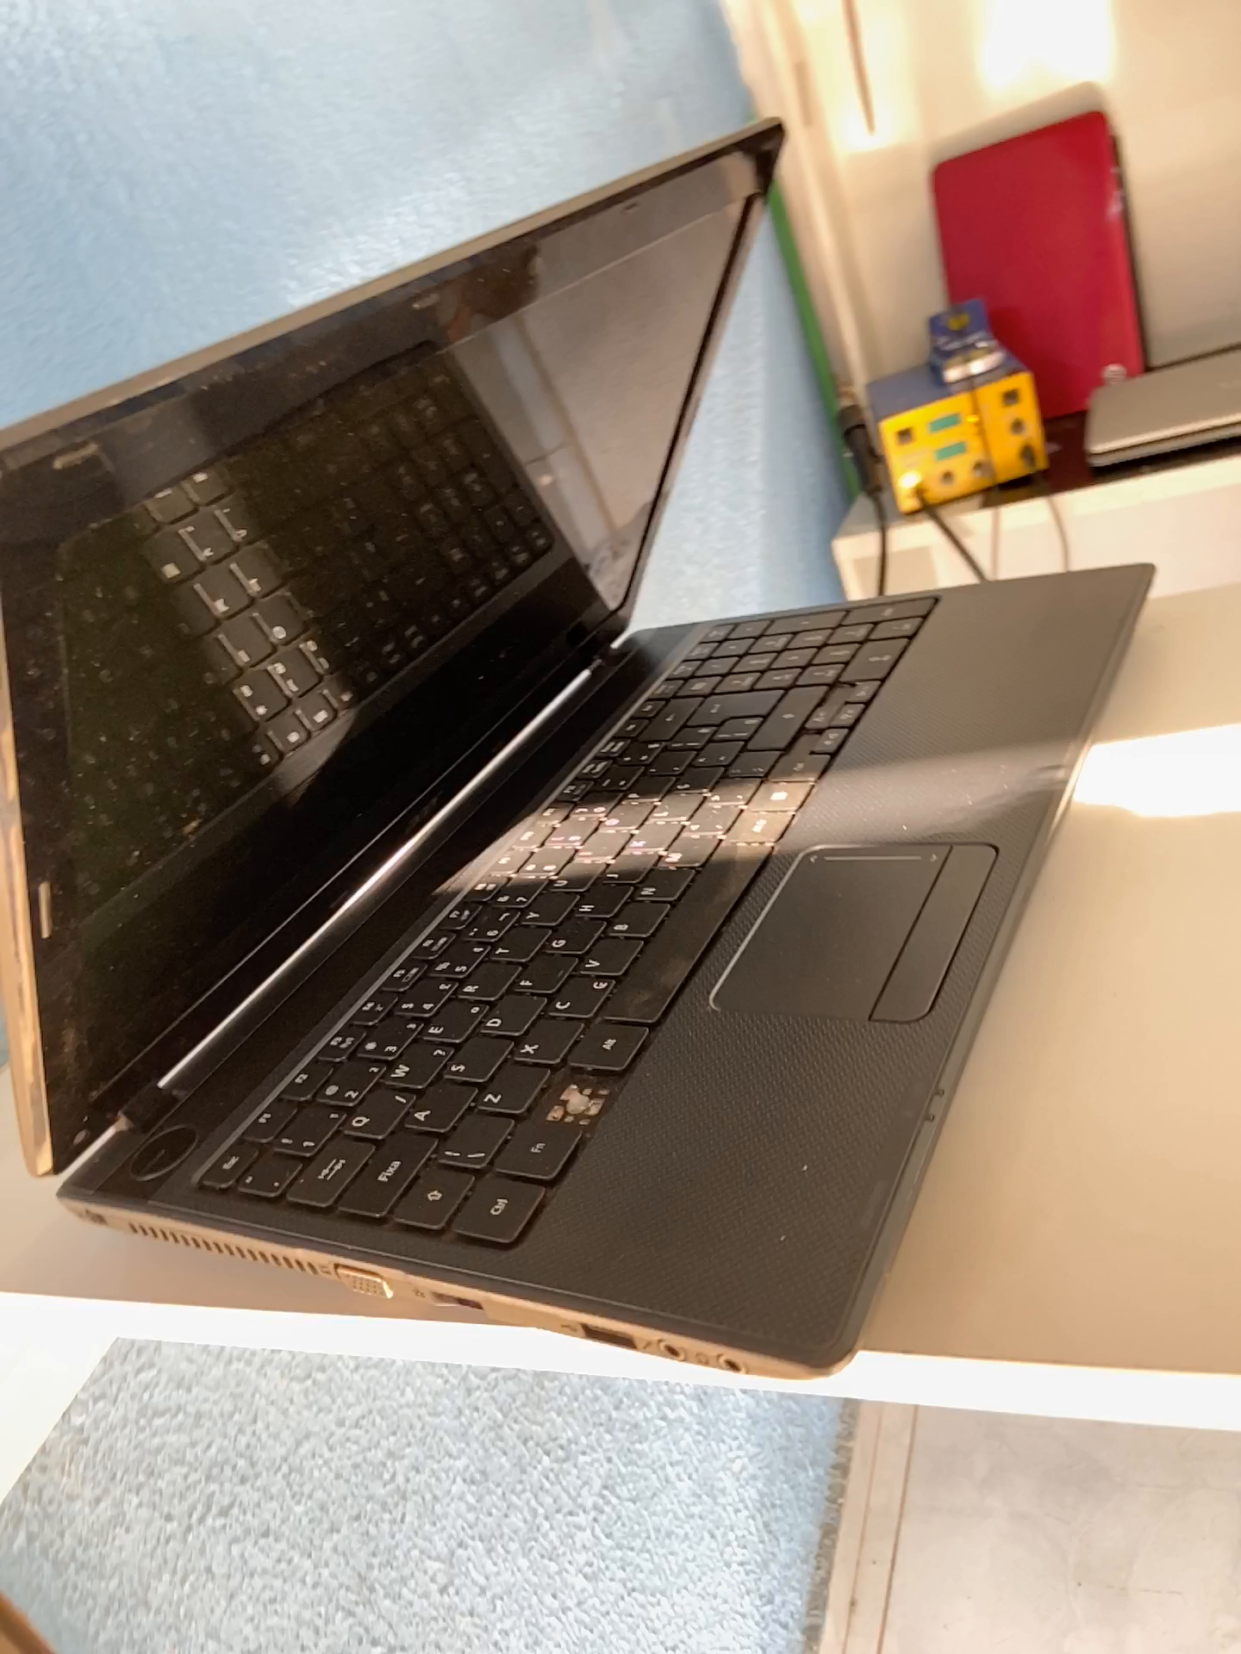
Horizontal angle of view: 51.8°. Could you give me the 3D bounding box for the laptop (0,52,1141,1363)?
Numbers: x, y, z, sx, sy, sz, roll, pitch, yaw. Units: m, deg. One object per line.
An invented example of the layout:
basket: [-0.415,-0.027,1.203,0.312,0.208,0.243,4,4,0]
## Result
laptop: [-0.014,-0.075,0.406,0.248,0.191,0.377,-3,31,34]
